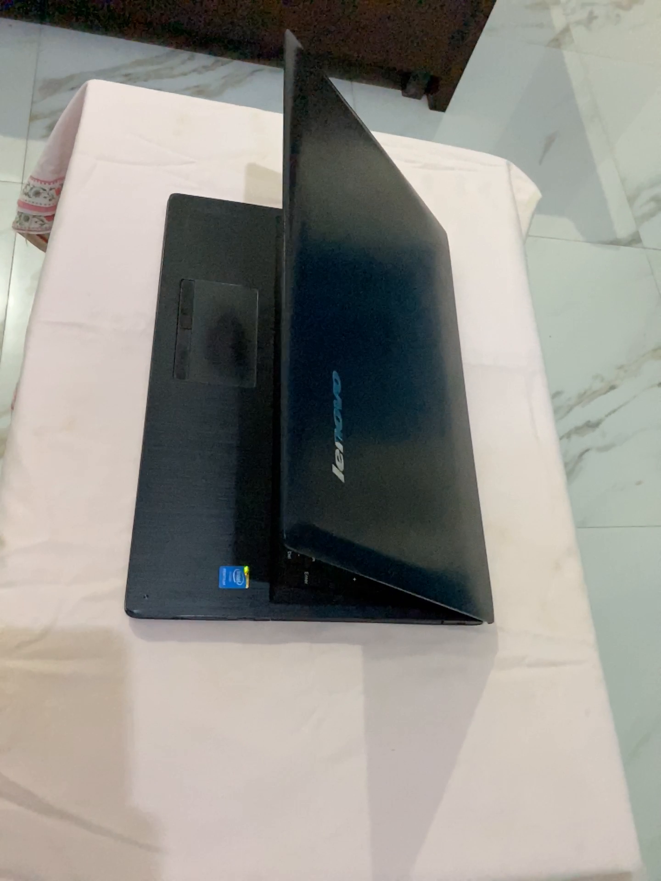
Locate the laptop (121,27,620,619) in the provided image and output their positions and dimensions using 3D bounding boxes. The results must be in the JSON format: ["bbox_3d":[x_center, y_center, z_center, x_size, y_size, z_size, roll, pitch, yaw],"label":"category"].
[{"bbox_3d":[0.003,-0.074,0.492,0.258,0.176,0.369,4,65,-12],"label":"laptop"}]
